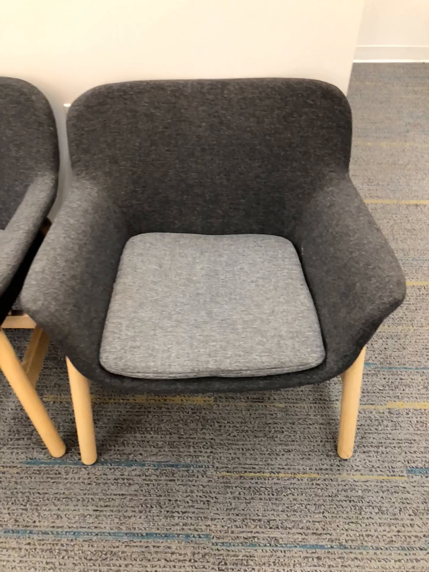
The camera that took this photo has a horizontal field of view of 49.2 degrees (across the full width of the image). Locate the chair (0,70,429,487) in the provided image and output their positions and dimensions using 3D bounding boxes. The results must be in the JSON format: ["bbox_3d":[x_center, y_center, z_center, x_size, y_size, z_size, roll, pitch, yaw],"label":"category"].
[{"bbox_3d":[0.004,-0.011,1.280,0.740,0.834,0.735,2,45,2],"label":"chair"}]
